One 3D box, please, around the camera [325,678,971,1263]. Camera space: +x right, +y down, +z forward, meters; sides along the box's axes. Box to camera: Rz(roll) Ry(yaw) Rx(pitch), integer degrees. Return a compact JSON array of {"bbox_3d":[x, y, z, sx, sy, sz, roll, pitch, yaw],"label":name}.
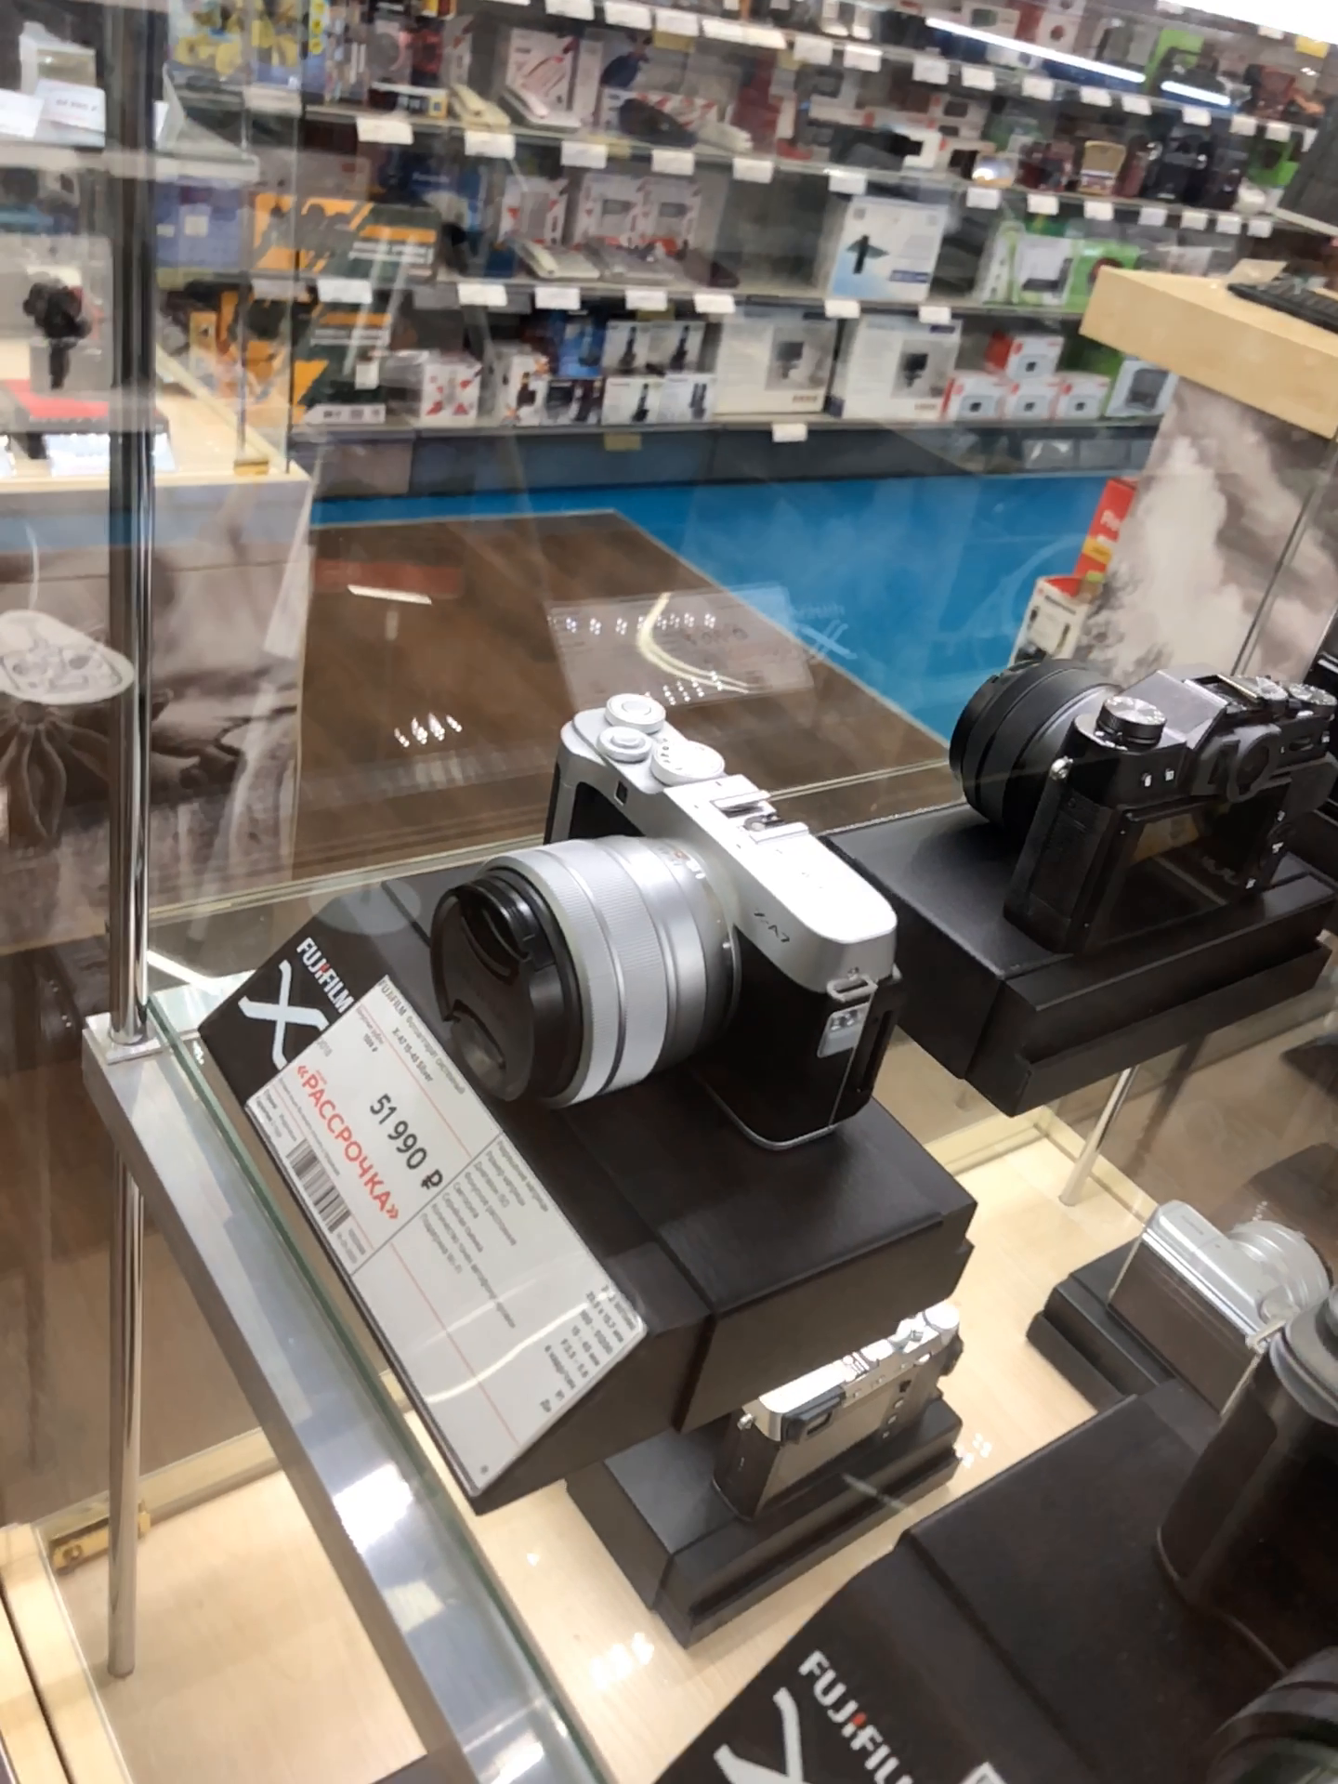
[{"bbox_3d":[-0.013,0.010,0.378,0.100,0.066,0.134,-12,40,-33],"label":"camera"}]
